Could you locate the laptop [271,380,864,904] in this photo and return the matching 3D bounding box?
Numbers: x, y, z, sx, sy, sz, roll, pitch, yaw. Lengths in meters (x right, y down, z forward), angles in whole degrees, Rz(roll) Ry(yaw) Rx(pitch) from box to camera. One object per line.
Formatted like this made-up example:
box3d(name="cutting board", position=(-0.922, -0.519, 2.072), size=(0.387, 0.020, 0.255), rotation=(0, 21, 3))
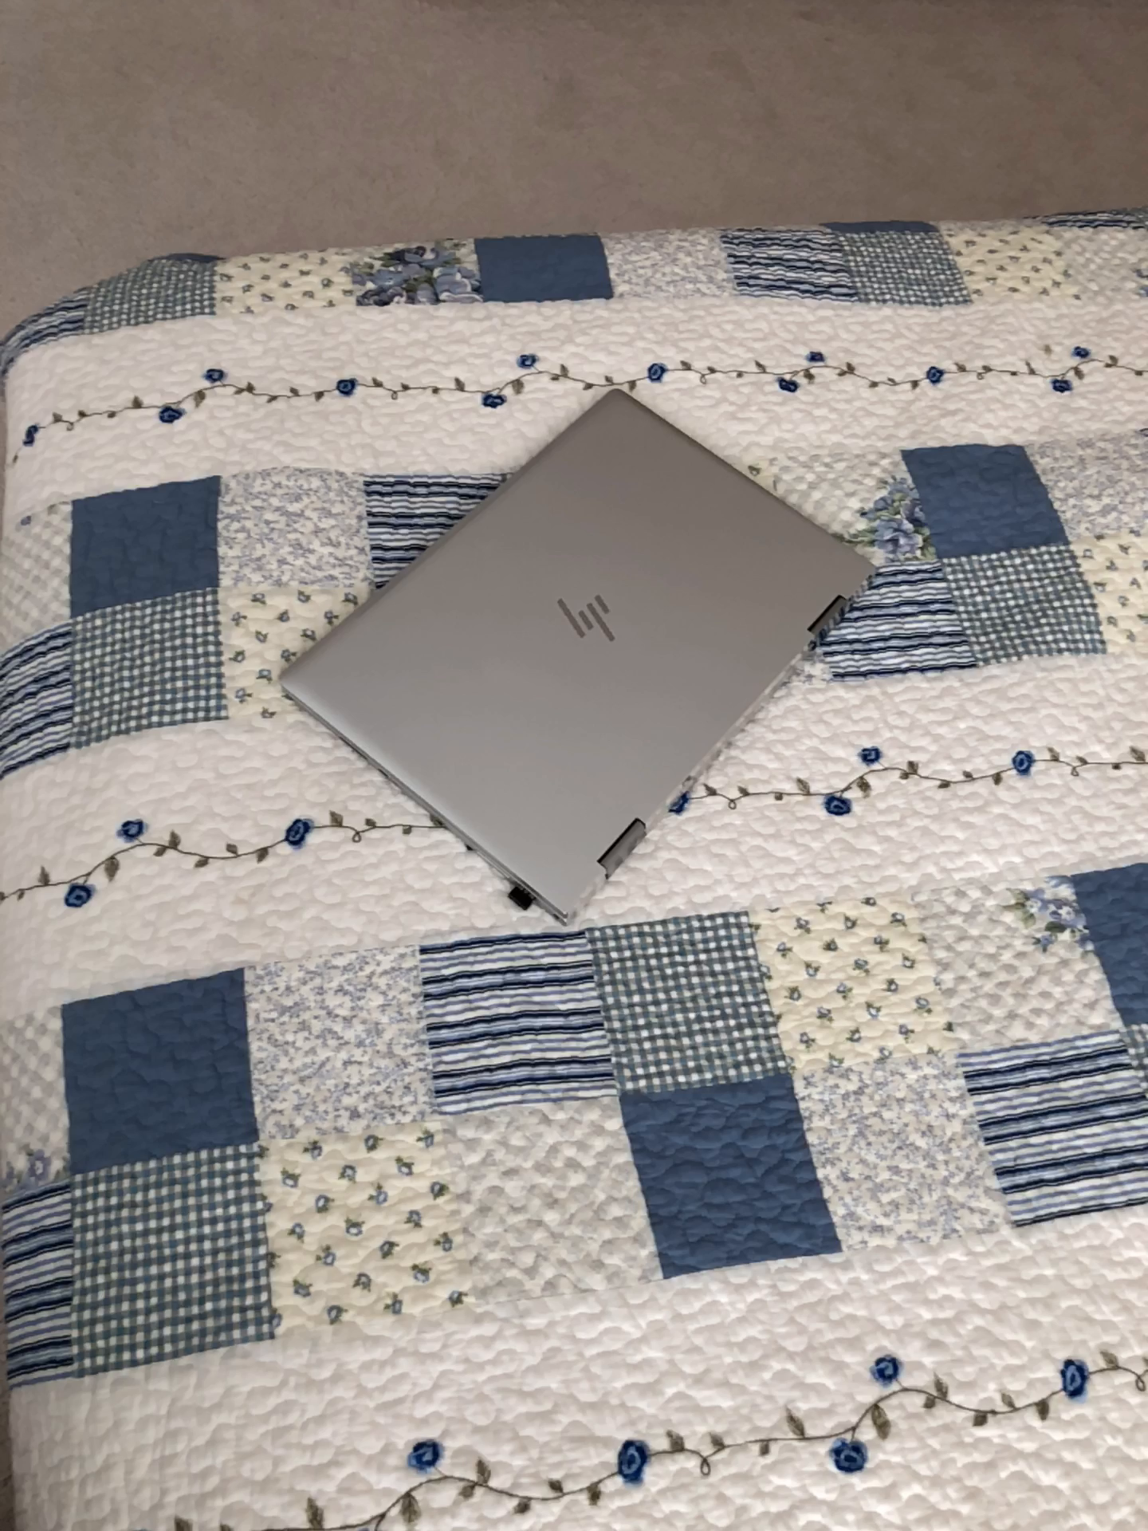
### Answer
box3d(name="laptop", position=(0.010, -0.113, 0.938), size=(0.256, 0.011, 0.386), rotation=(38, 63, 10))
